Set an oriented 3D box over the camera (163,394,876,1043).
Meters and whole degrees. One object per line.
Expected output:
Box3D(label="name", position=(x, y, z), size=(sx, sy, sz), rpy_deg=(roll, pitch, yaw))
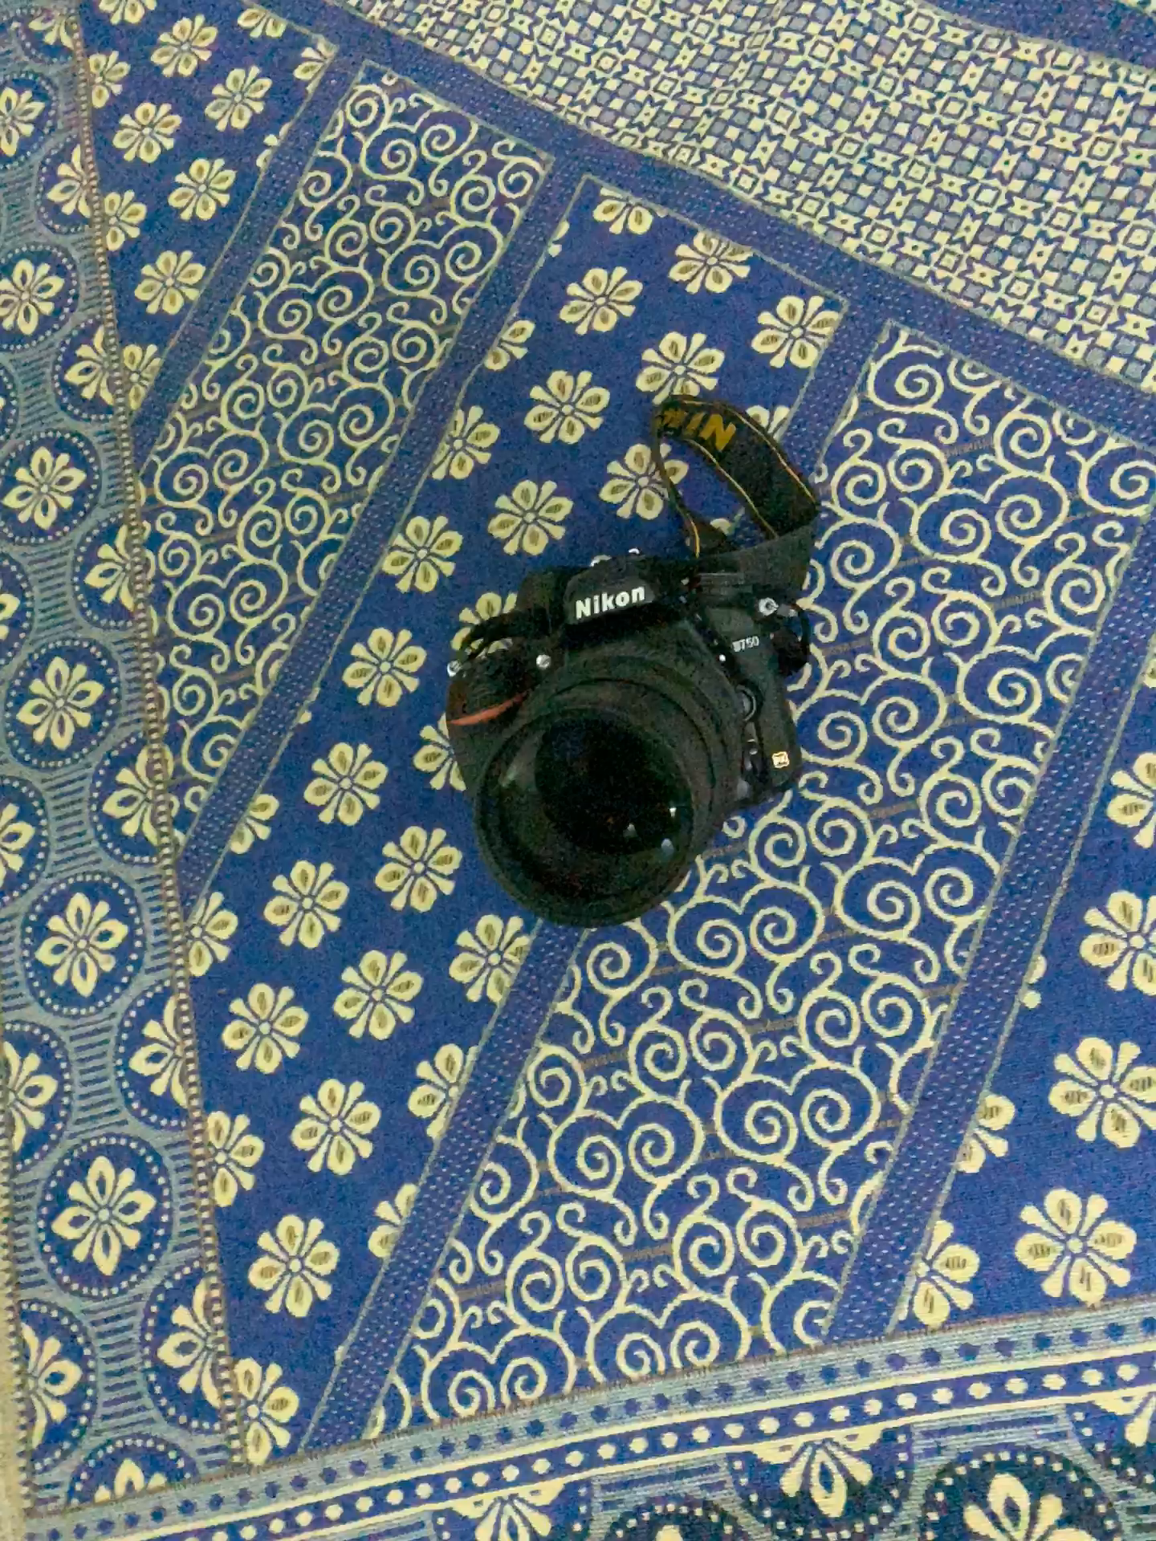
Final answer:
Box3D(label="camera", position=(-0.002, -0.012, 0.395), size=(0.160, 0.191, 0.130), rpy_deg=(-14, 89, 11))
